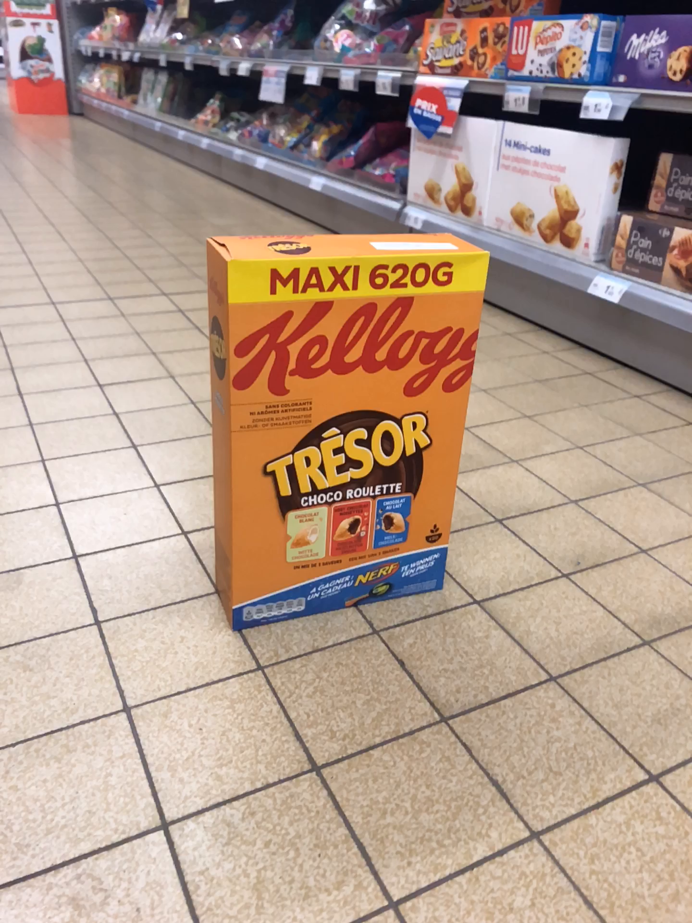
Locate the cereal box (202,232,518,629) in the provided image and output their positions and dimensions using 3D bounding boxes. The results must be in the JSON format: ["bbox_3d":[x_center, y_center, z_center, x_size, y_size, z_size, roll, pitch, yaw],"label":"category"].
[{"bbox_3d":[0.003,-0.024,0.597,0.210,0.288,0.070,-6,28,-19],"label":"cereal box"}]
